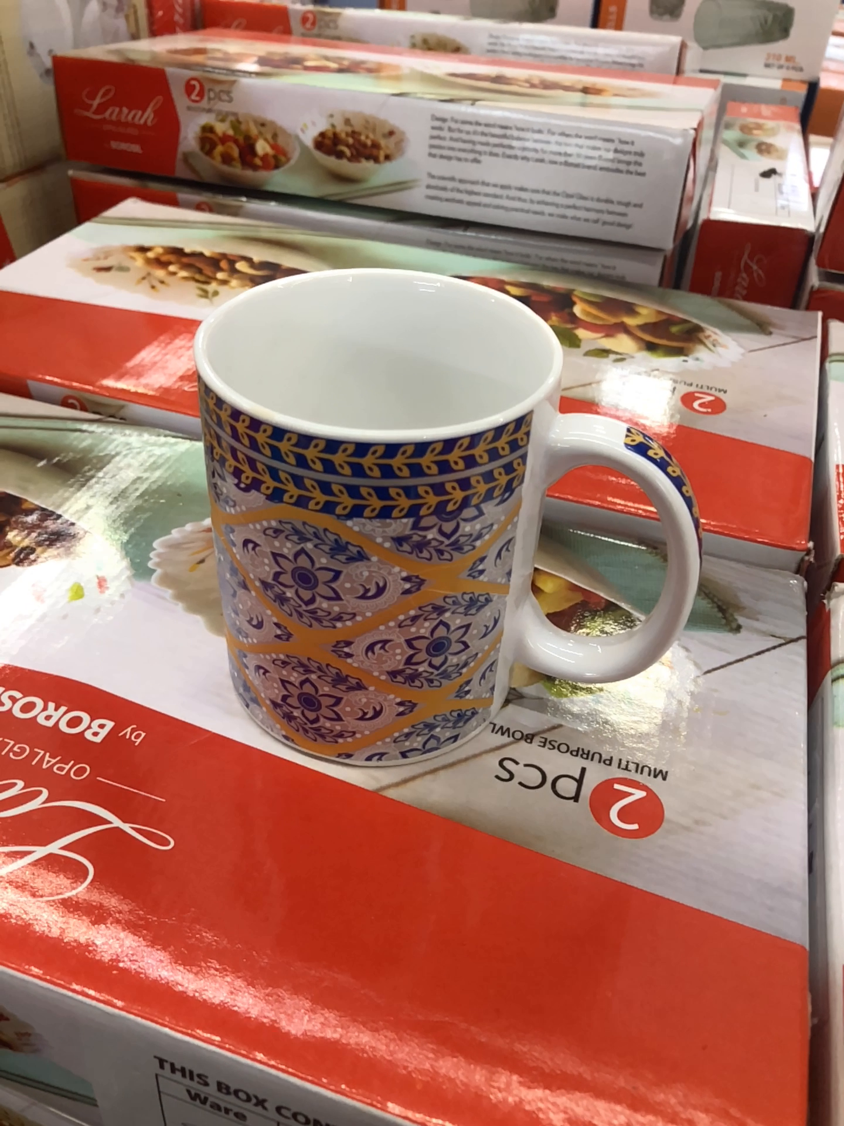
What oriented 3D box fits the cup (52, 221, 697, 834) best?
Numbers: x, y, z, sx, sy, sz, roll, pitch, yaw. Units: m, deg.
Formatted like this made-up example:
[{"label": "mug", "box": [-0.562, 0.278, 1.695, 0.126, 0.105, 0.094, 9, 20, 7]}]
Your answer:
[{"label": "cup", "box": [-0.006, -0.011, 0.218, 0.110, 0.099, 0.081, 9, 37, 6]}]
